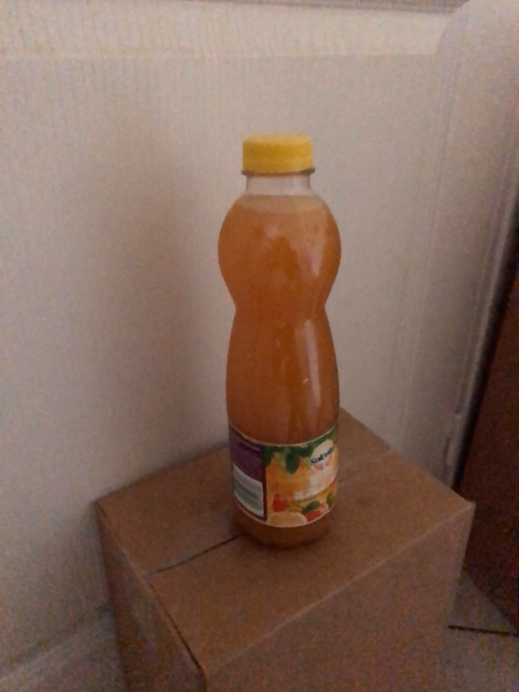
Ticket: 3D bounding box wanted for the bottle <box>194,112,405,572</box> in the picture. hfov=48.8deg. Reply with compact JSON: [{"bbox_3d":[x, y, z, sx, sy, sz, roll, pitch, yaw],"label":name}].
[{"bbox_3d":[0.019,0.004,0.373,0.080,0.278,0.080,1,29,-1],"label":"bottle"}]
